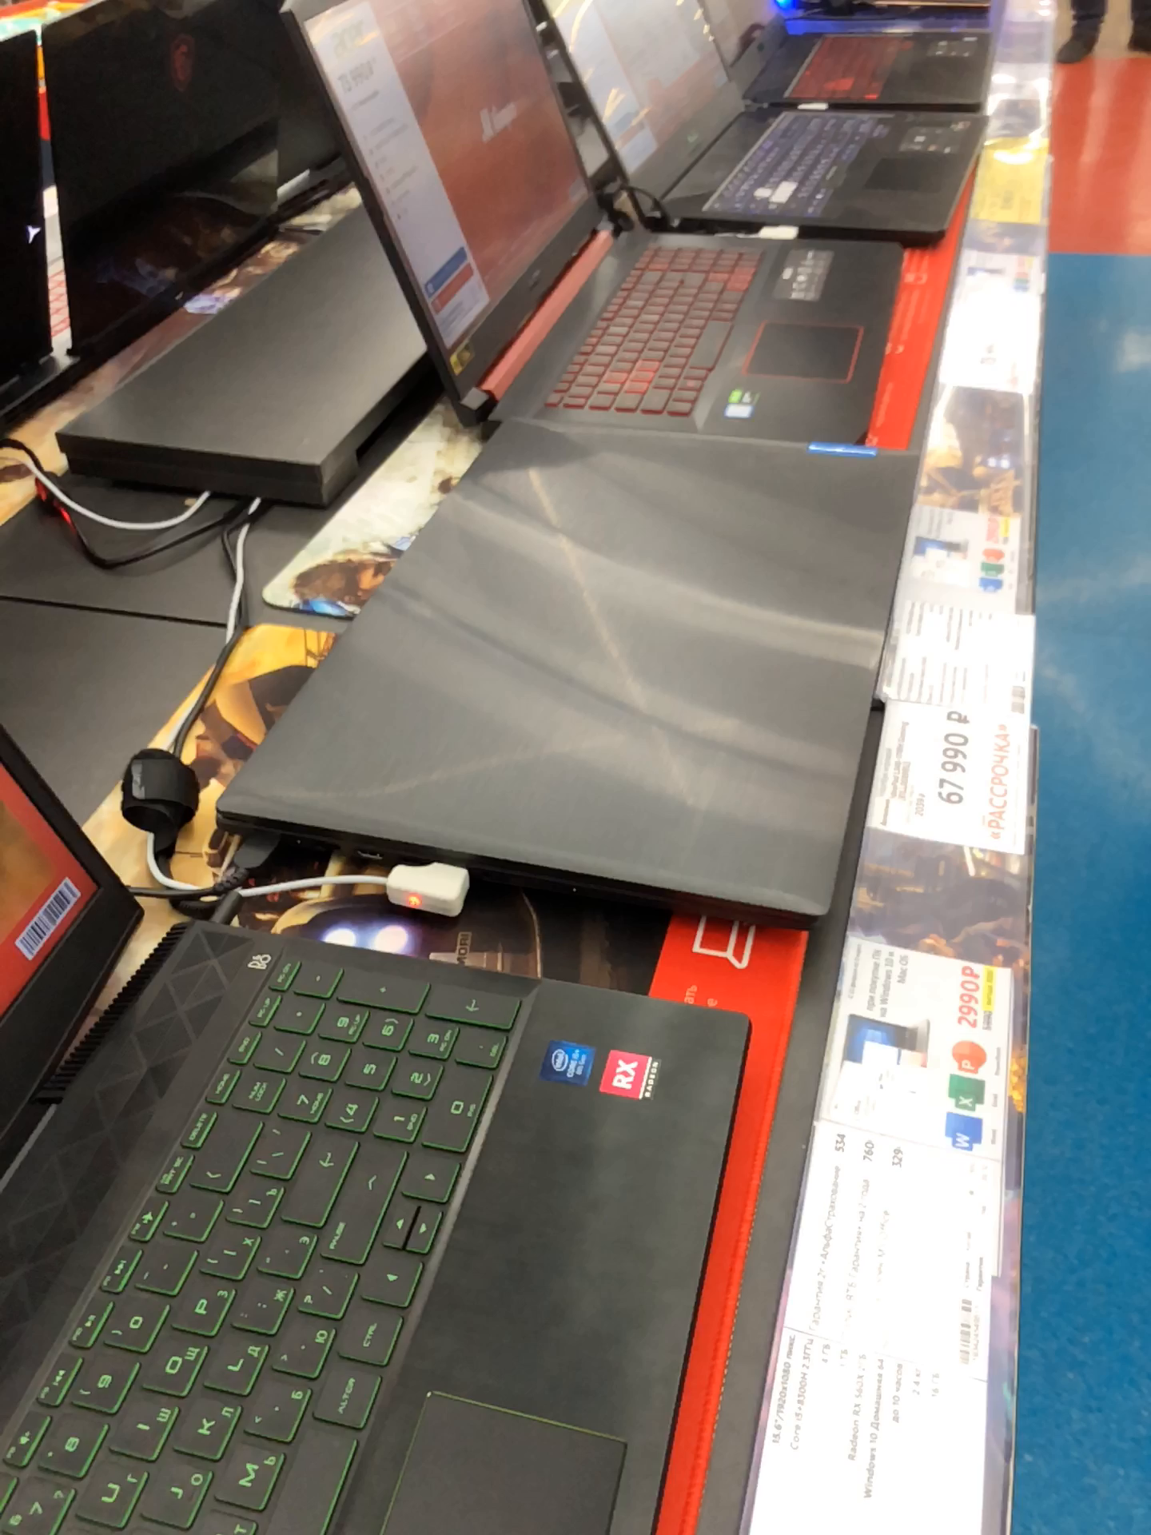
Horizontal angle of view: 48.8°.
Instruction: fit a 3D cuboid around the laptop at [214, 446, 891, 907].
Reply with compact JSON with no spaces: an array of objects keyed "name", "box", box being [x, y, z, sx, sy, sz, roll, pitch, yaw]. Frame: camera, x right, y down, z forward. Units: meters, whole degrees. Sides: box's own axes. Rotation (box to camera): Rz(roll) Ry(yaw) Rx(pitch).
[{"name":"laptop","box":[0.018,-0.082,0.693,0.268,0.002,0.391,8,40,14]}]
